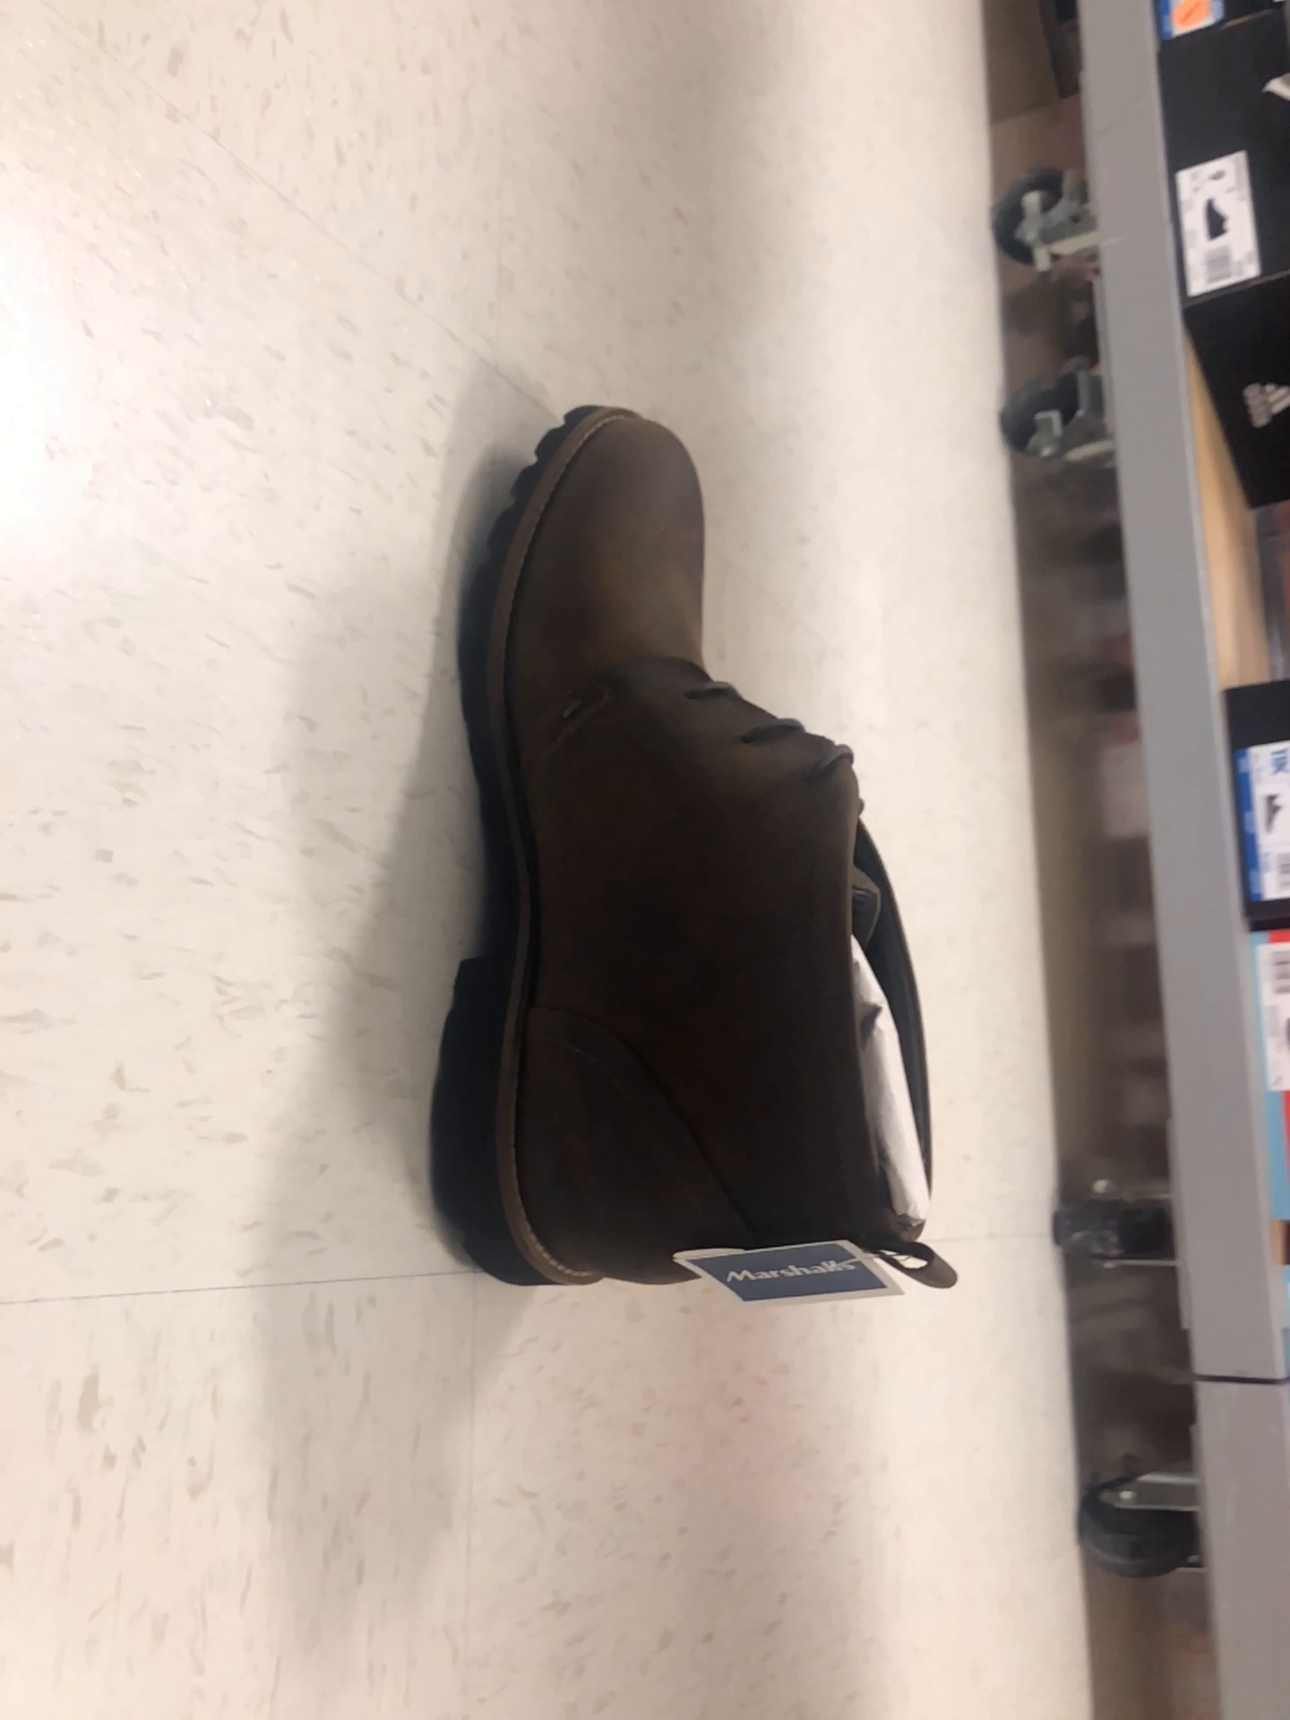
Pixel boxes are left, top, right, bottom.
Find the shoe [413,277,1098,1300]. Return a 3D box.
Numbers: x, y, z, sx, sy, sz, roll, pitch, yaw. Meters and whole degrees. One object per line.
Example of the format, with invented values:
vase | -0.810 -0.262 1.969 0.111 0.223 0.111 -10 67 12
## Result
shoe | 0.038 -0.008 0.462 0.116 0.166 0.283 28 59 -56
